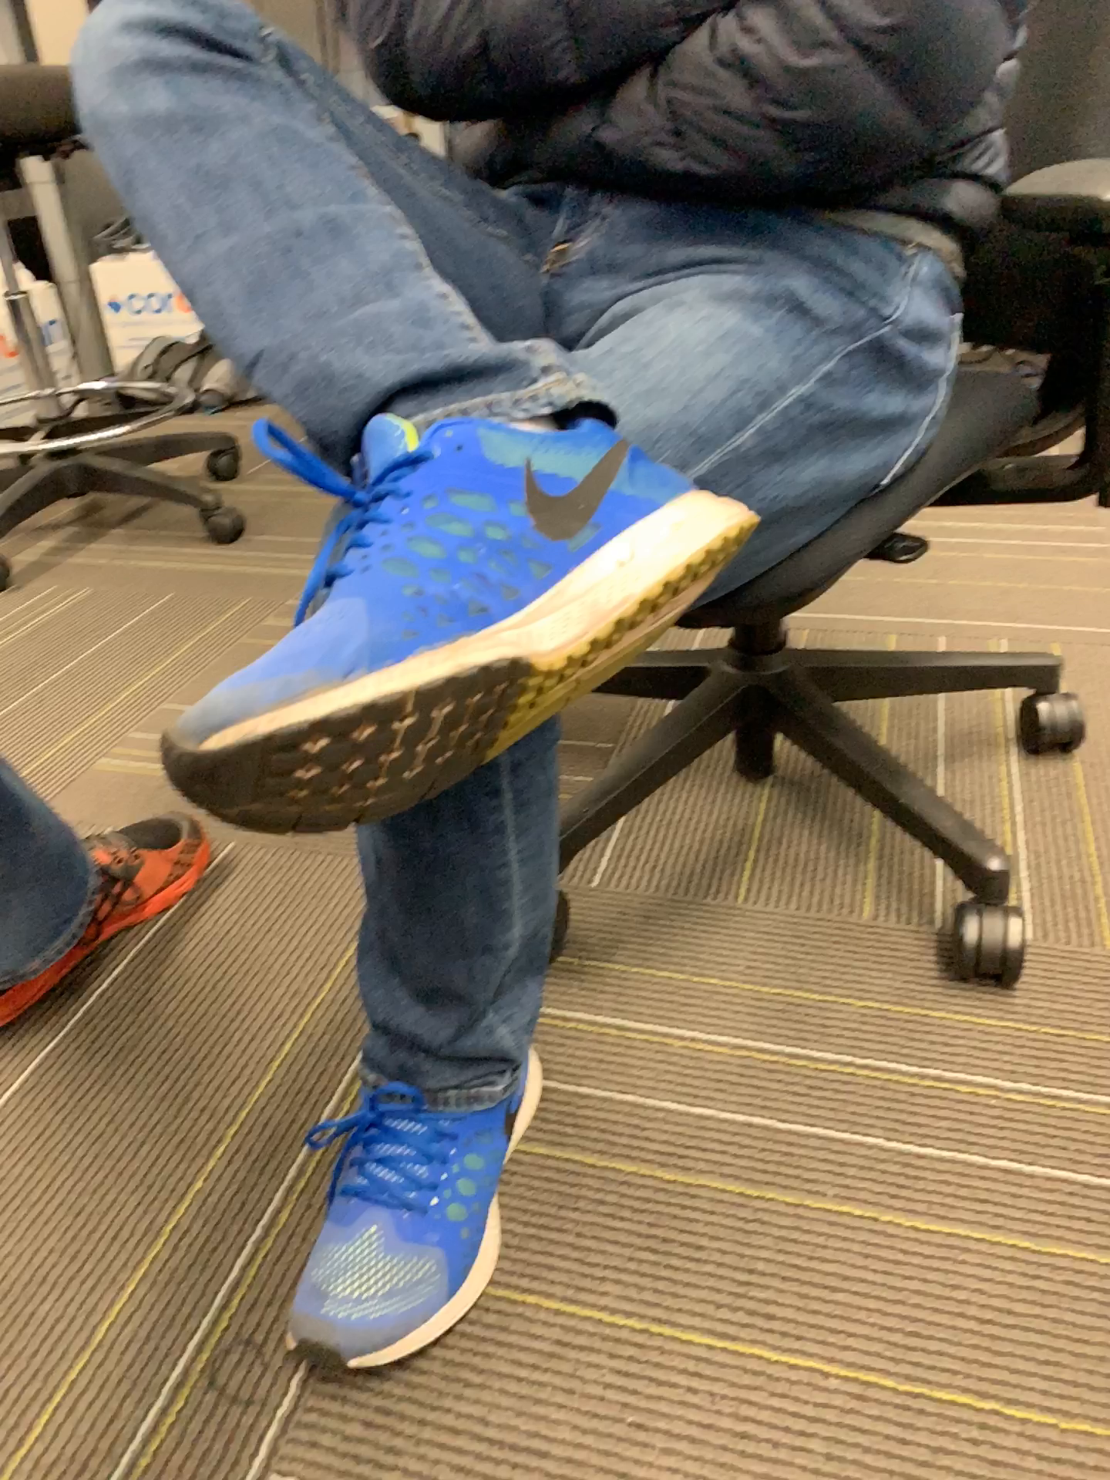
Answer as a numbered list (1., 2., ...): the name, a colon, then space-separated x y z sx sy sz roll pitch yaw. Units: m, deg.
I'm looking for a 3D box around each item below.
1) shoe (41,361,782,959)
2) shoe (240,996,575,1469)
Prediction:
1. shoe: -0.046 -0.049 0.461 0.104 0.116 0.276 42 48 21
2. shoe: -0.082 0.311 0.769 0.101 0.086 0.285 7 31 19
